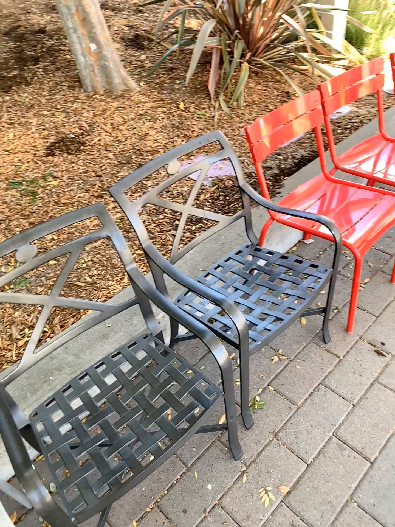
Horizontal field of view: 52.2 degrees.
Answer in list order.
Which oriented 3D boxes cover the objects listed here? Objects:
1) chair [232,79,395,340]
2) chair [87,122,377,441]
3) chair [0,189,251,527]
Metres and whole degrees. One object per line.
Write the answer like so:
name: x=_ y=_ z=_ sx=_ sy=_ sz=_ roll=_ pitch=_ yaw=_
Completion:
chair: x=0.626 y=-0.270 z=1.813 sx=0.621 sy=0.815 sz=0.643 roll=-35 pitch=46 yaw=-28
chair: x=0.136 y=0.029 z=1.550 sx=0.621 sy=0.815 sz=0.693 roll=-35 pitch=46 yaw=-28
chair: x=-0.318 y=0.362 z=1.242 sx=0.621 sy=0.815 sz=0.693 roll=-35 pitch=46 yaw=-28
